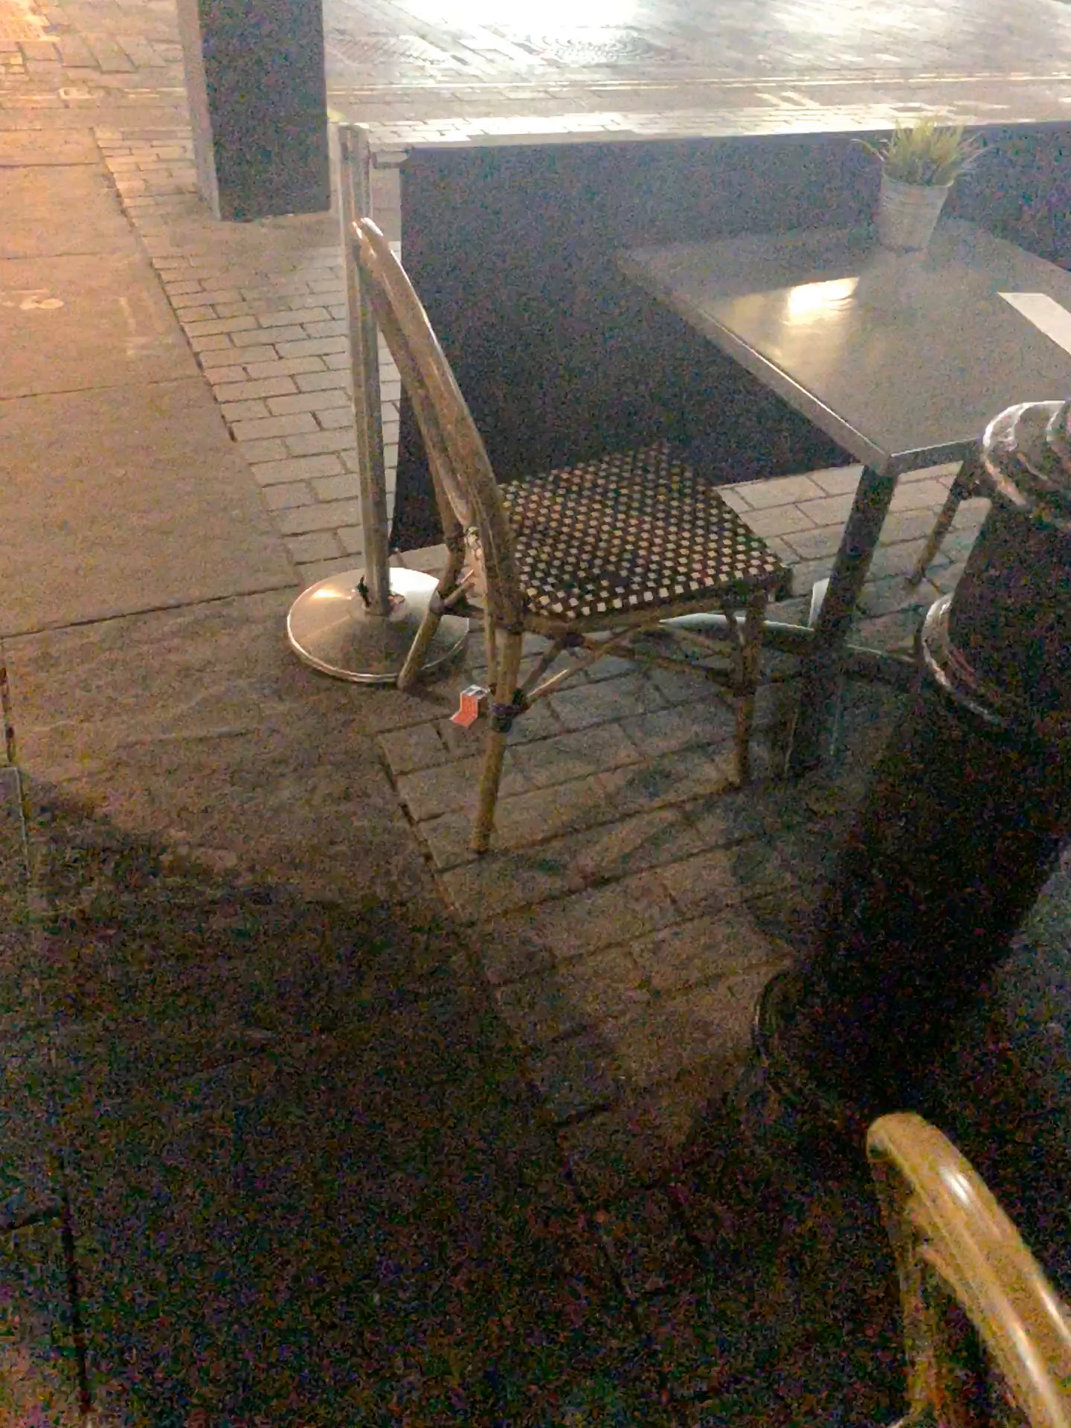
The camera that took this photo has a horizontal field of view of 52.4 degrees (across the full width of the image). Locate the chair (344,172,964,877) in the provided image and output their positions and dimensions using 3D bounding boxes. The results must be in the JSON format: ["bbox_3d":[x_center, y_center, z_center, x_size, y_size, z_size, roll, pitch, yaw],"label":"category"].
[{"bbox_3d":[0.097,-0.284,1.605,0.601,0.792,0.514,-13,45,-20],"label":"chair"}]
